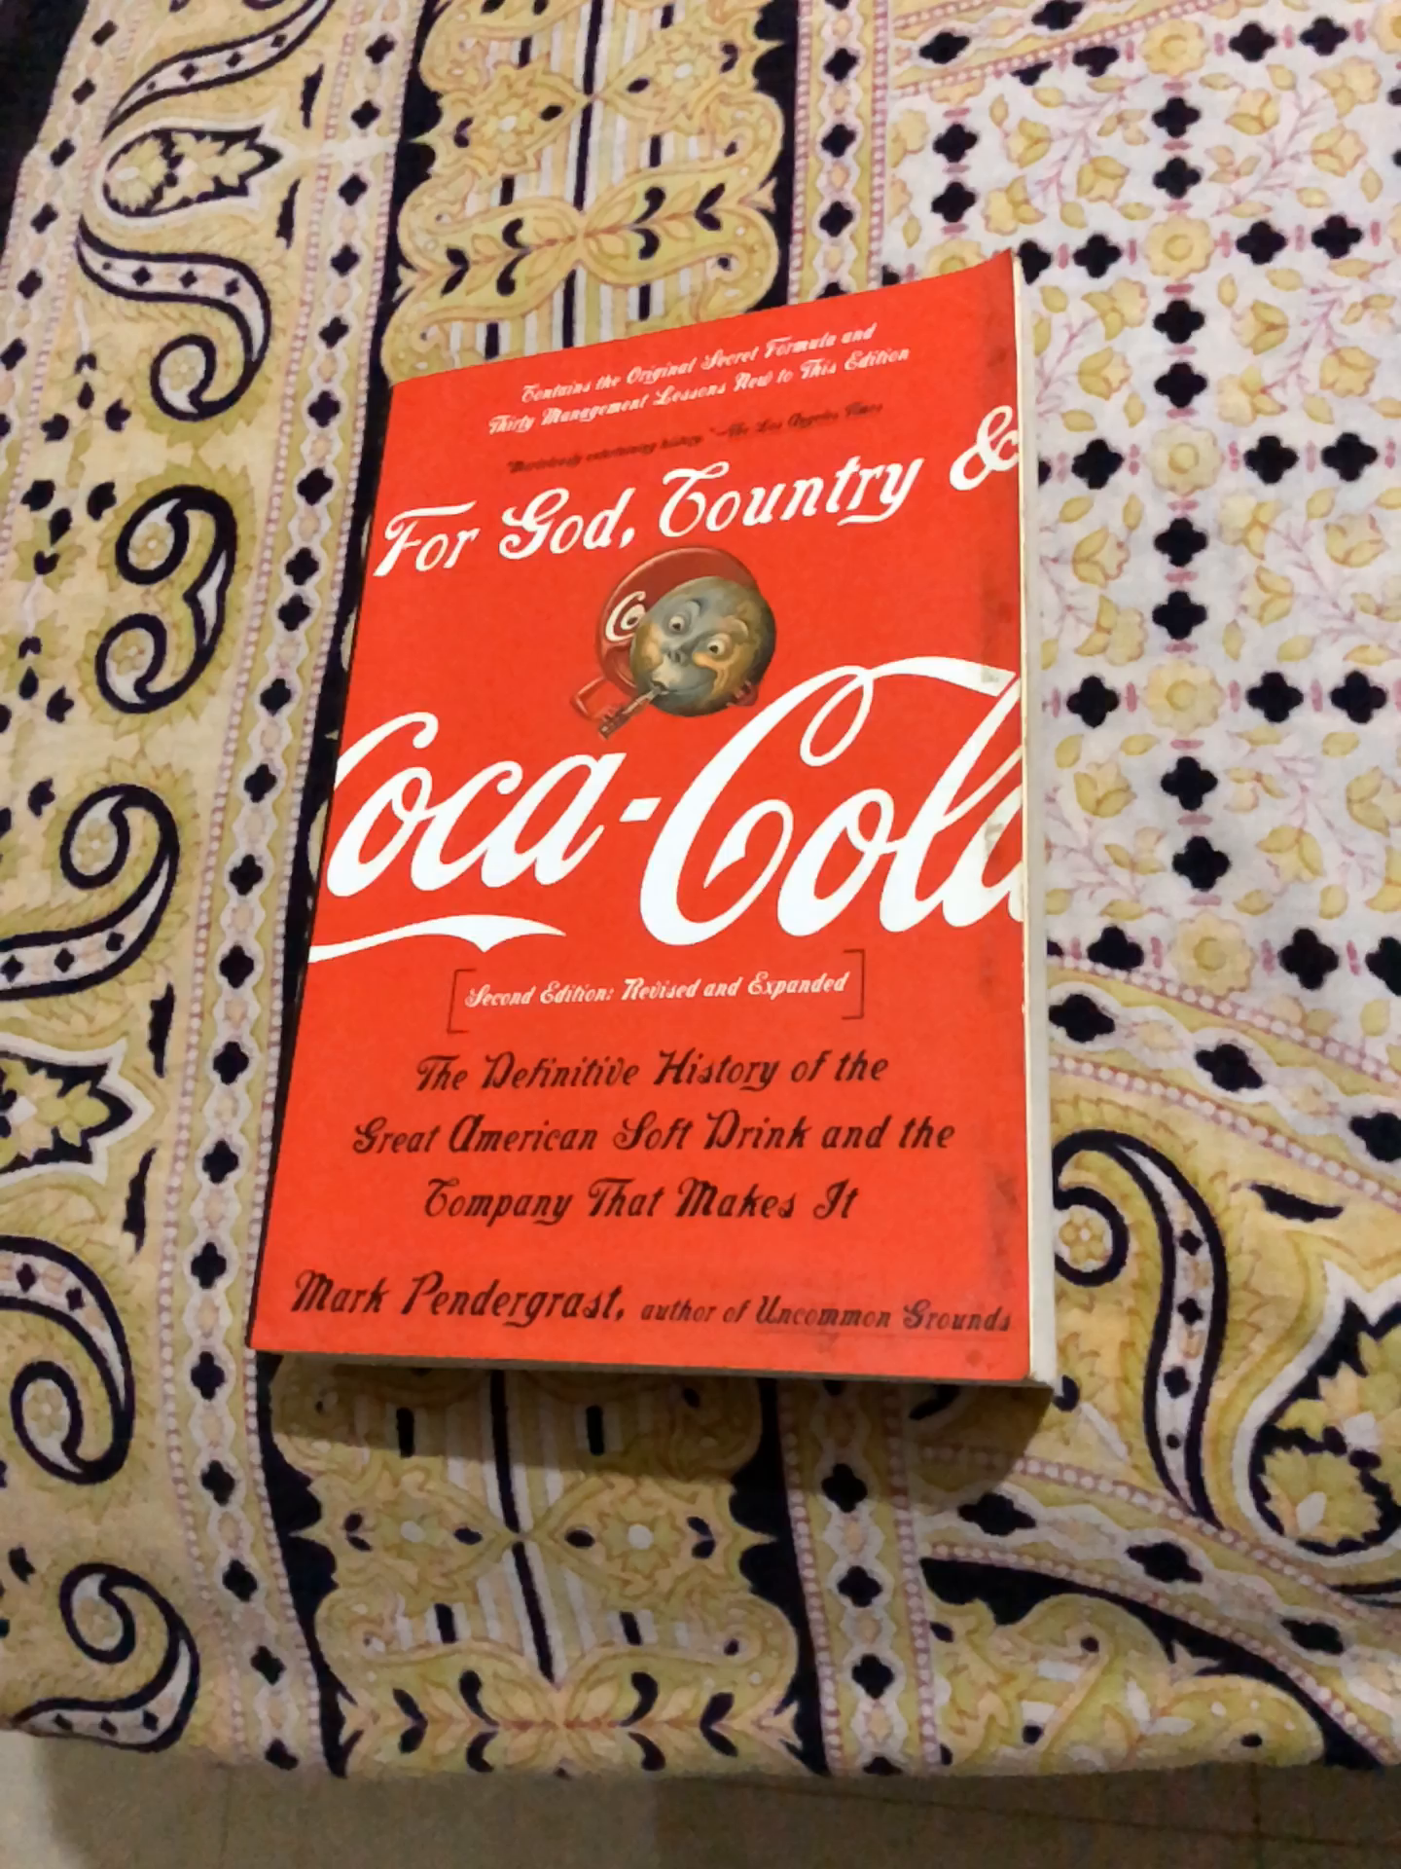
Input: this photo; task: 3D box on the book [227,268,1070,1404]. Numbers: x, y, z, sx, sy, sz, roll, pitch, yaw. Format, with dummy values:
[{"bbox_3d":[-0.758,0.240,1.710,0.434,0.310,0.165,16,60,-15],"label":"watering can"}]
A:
[{"bbox_3d":[-0.006,-0.021,0.345,0.160,0.050,0.230,-4,71,19],"label":"book"}]
